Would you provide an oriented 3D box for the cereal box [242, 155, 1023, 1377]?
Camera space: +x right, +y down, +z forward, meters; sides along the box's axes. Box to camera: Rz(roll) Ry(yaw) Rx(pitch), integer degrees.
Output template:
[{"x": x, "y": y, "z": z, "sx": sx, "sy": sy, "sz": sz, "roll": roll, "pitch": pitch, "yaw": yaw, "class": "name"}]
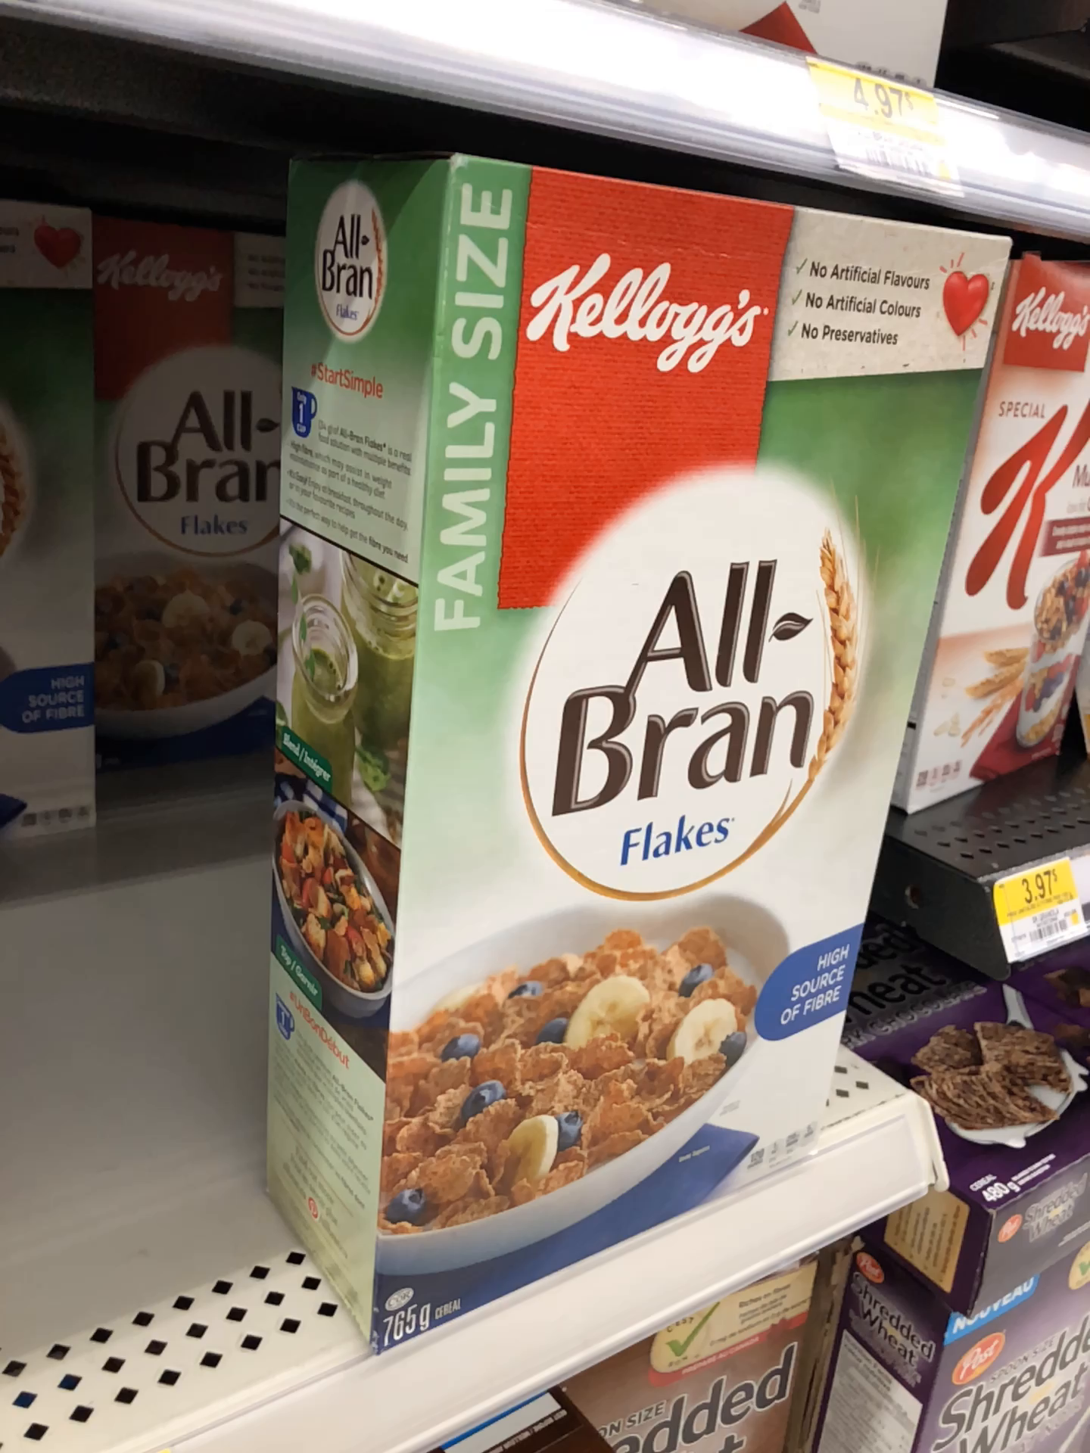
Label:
[{"x": 0.021, "y": 0.009, "z": 0.384, "sx": 0.210, "sy": 0.318, "sz": 0.080, "roll": -8, "pitch": 23, "yaw": -35, "class": "cereal box"}]
